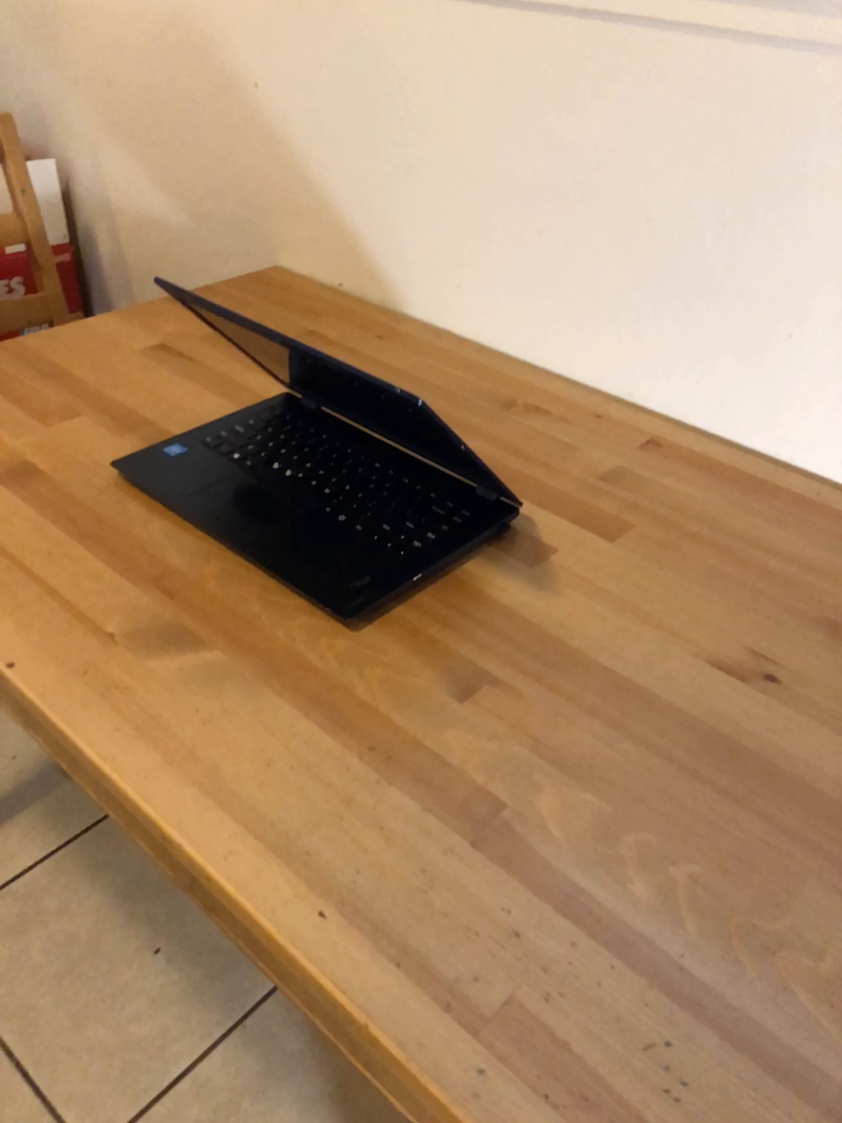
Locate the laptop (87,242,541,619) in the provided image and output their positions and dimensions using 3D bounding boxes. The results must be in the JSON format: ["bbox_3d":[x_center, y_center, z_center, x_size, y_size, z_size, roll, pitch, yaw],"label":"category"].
[{"bbox_3d":[-0.096,-0.135,0.811,0.317,0.161,0.216,30,45,31],"label":"laptop"}]
